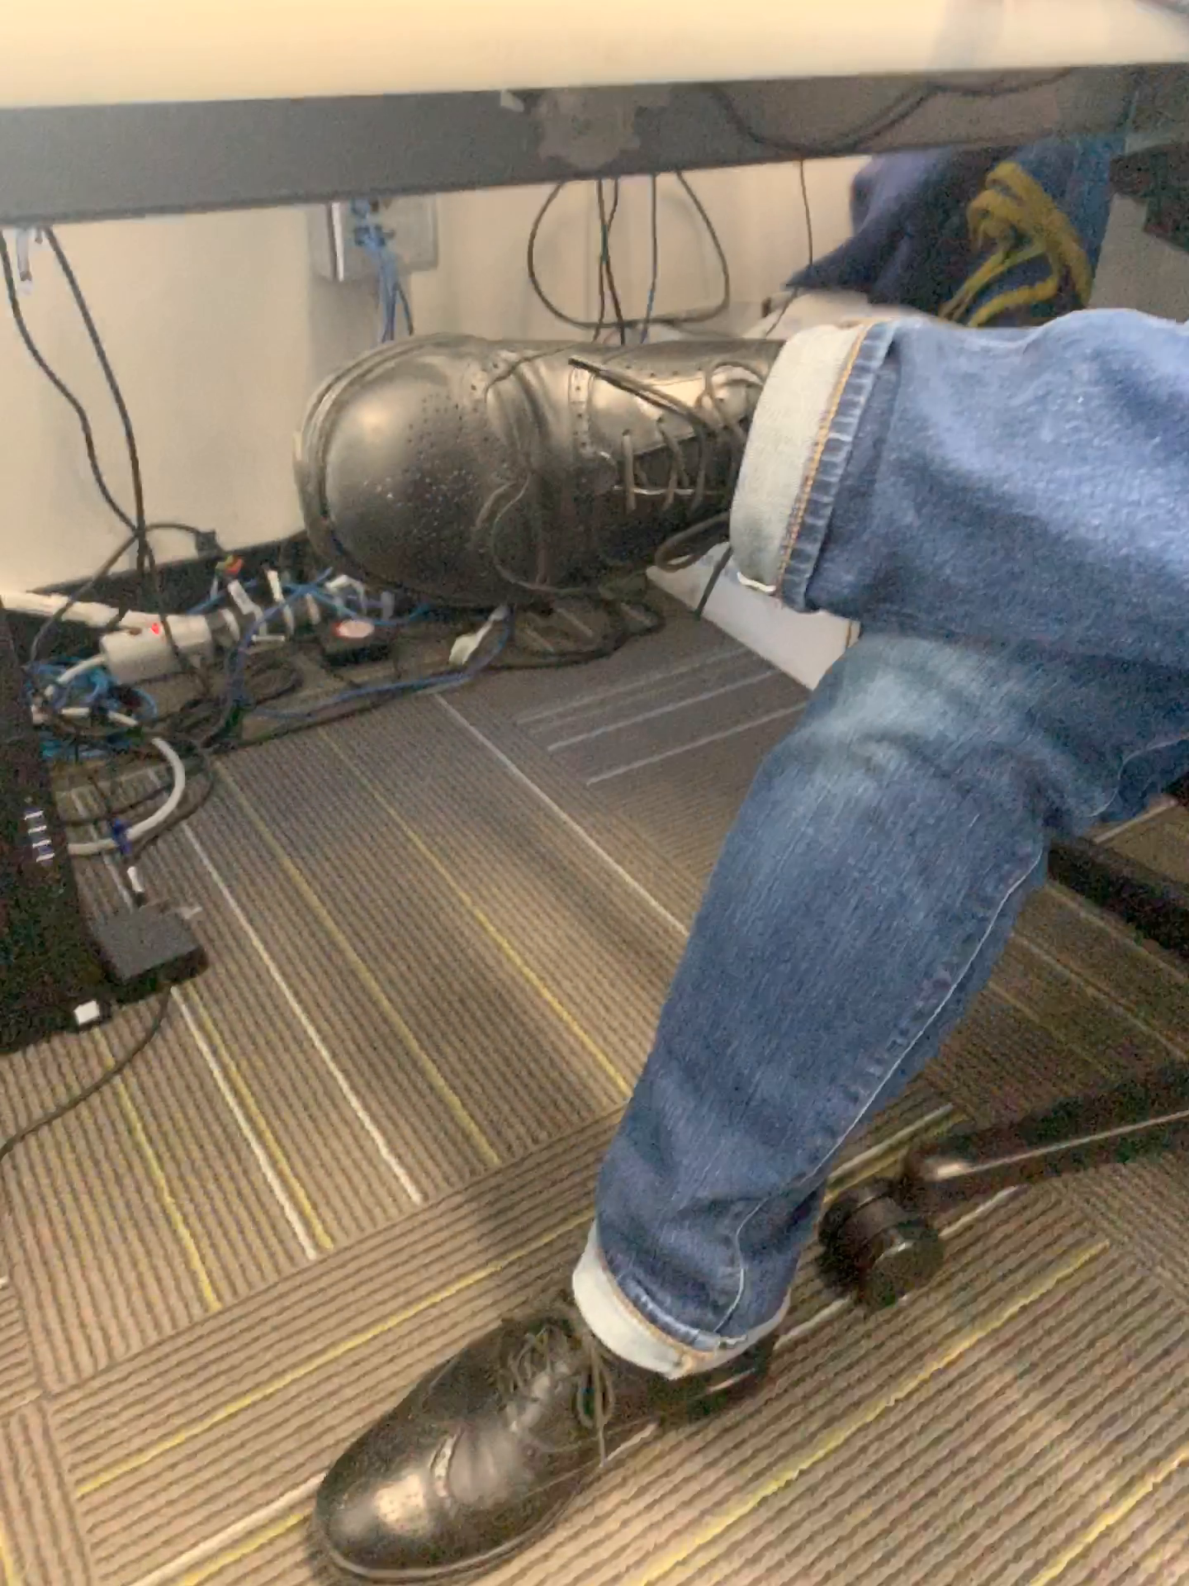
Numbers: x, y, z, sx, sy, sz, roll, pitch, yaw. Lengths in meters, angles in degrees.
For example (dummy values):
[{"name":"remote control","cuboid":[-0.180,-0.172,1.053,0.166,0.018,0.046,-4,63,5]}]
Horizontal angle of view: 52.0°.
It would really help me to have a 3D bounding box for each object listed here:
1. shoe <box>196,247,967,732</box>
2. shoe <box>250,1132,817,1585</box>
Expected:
[{"name":"shoe","cuboid":[0.006,-0.130,0.470,0.274,0.111,0.091,-21,37,-28]},{"name":"shoe","cuboid":[-0.026,0.315,0.657,0.274,0.104,0.112,-21,40,-28]}]
